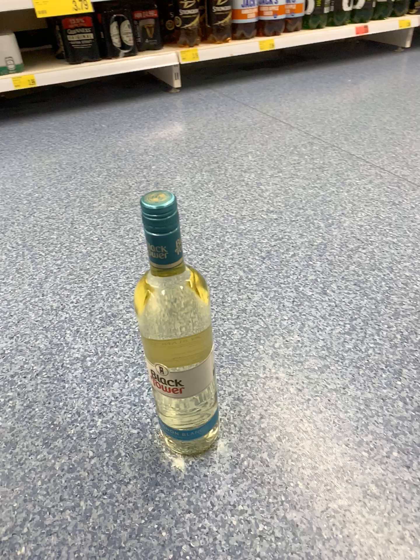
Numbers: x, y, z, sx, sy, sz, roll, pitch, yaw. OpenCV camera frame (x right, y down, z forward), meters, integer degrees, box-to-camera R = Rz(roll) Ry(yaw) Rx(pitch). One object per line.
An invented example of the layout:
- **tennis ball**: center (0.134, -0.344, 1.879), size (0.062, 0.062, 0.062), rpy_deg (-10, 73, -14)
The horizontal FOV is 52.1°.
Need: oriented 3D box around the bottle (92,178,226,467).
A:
- **bottle**: center (-0.035, 0.060, 0.424), size (0.071, 0.305, 0.065), rpy_deg (-3, 37, 2)
